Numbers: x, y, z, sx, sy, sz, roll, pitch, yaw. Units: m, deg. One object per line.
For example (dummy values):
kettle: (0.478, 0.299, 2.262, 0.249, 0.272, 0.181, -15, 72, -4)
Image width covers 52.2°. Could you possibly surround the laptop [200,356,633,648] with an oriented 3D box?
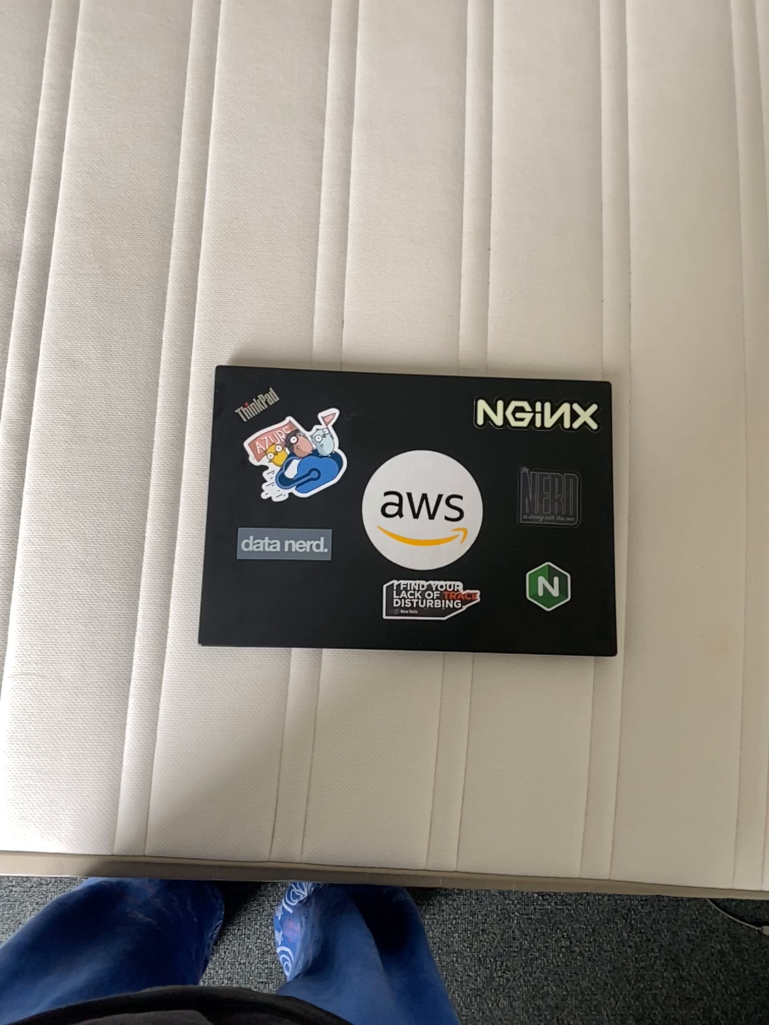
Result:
laptop: (0.031, -0.011, 0.614, 0.322, 0.014, 0.224, 2, 78, -1)
